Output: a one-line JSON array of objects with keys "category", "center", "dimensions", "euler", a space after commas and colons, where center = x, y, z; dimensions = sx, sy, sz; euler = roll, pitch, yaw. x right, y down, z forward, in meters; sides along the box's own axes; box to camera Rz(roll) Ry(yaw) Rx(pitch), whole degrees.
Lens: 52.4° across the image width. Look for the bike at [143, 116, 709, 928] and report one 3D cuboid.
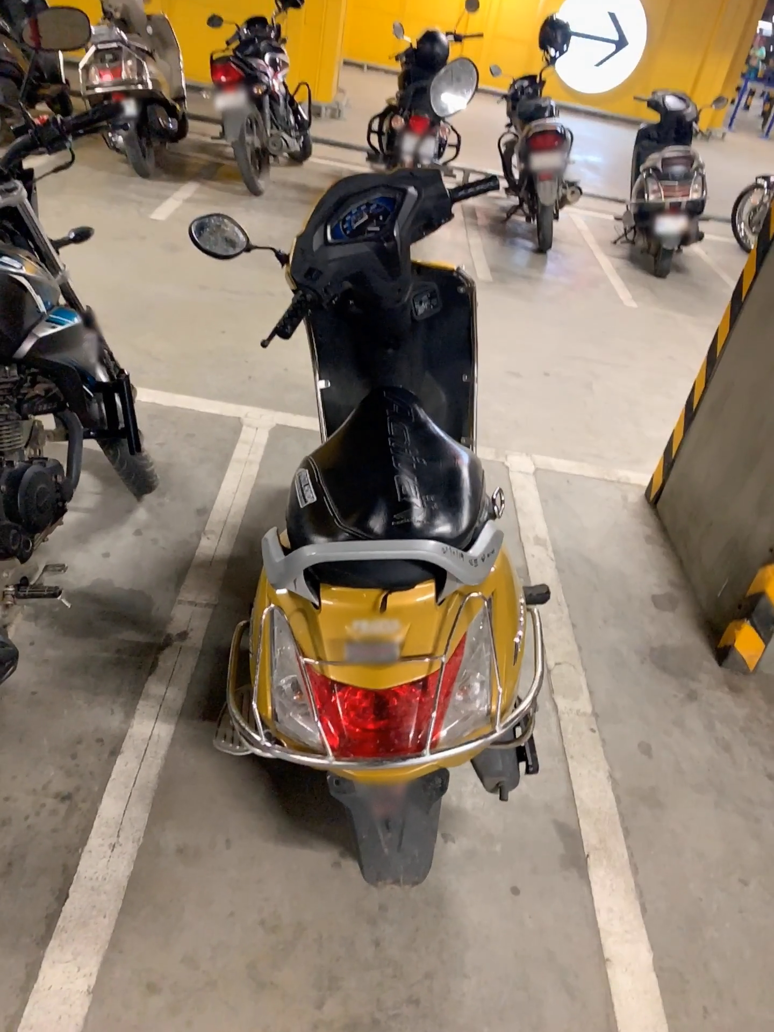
[{"category": "bike", "center": [-0.103, -0.150, 1.674], "dimensions": [0.568, 0.993, 1.528], "euler": [5, 33, -10]}]
